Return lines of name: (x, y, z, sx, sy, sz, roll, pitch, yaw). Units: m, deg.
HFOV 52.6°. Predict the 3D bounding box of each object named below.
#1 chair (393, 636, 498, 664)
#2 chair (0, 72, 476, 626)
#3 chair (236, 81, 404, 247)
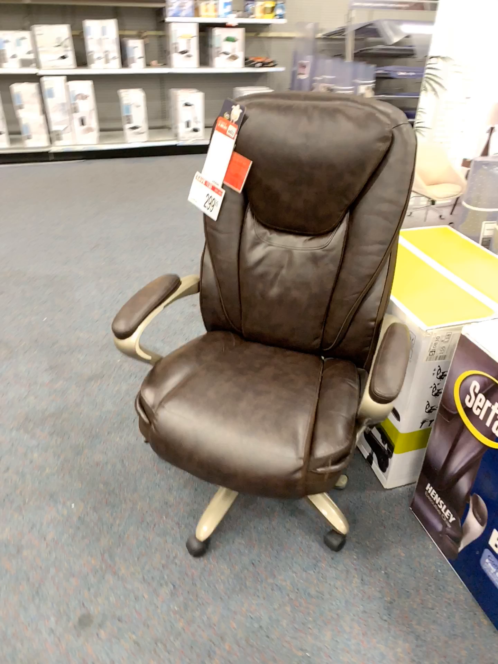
chair: (0.657, 0.832, 0.200, 0.754, 0.994, 0.705, -7, 34, -13)
chair: (0.040, -0.033, 1.408, 0.782, 1.104, 0.848, 15, 36, 20)
chair: (0.390, -1.144, 3.358, 0.824, 0.855, 0.795, -5, 33, -10)
